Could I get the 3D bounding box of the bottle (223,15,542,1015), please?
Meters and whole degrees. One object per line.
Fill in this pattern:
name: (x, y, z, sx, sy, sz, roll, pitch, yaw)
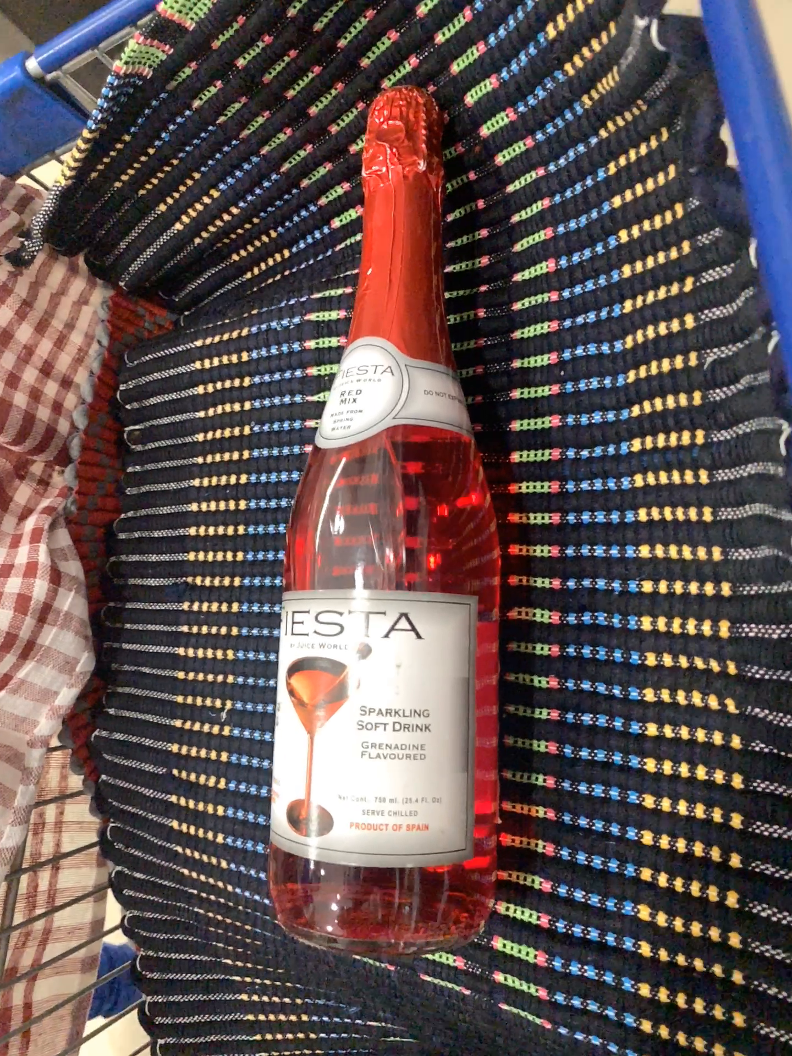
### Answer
bottle: (-0.002, -0.012, 0.300, 0.080, 0.070, 0.310, -8, 77, 39)
